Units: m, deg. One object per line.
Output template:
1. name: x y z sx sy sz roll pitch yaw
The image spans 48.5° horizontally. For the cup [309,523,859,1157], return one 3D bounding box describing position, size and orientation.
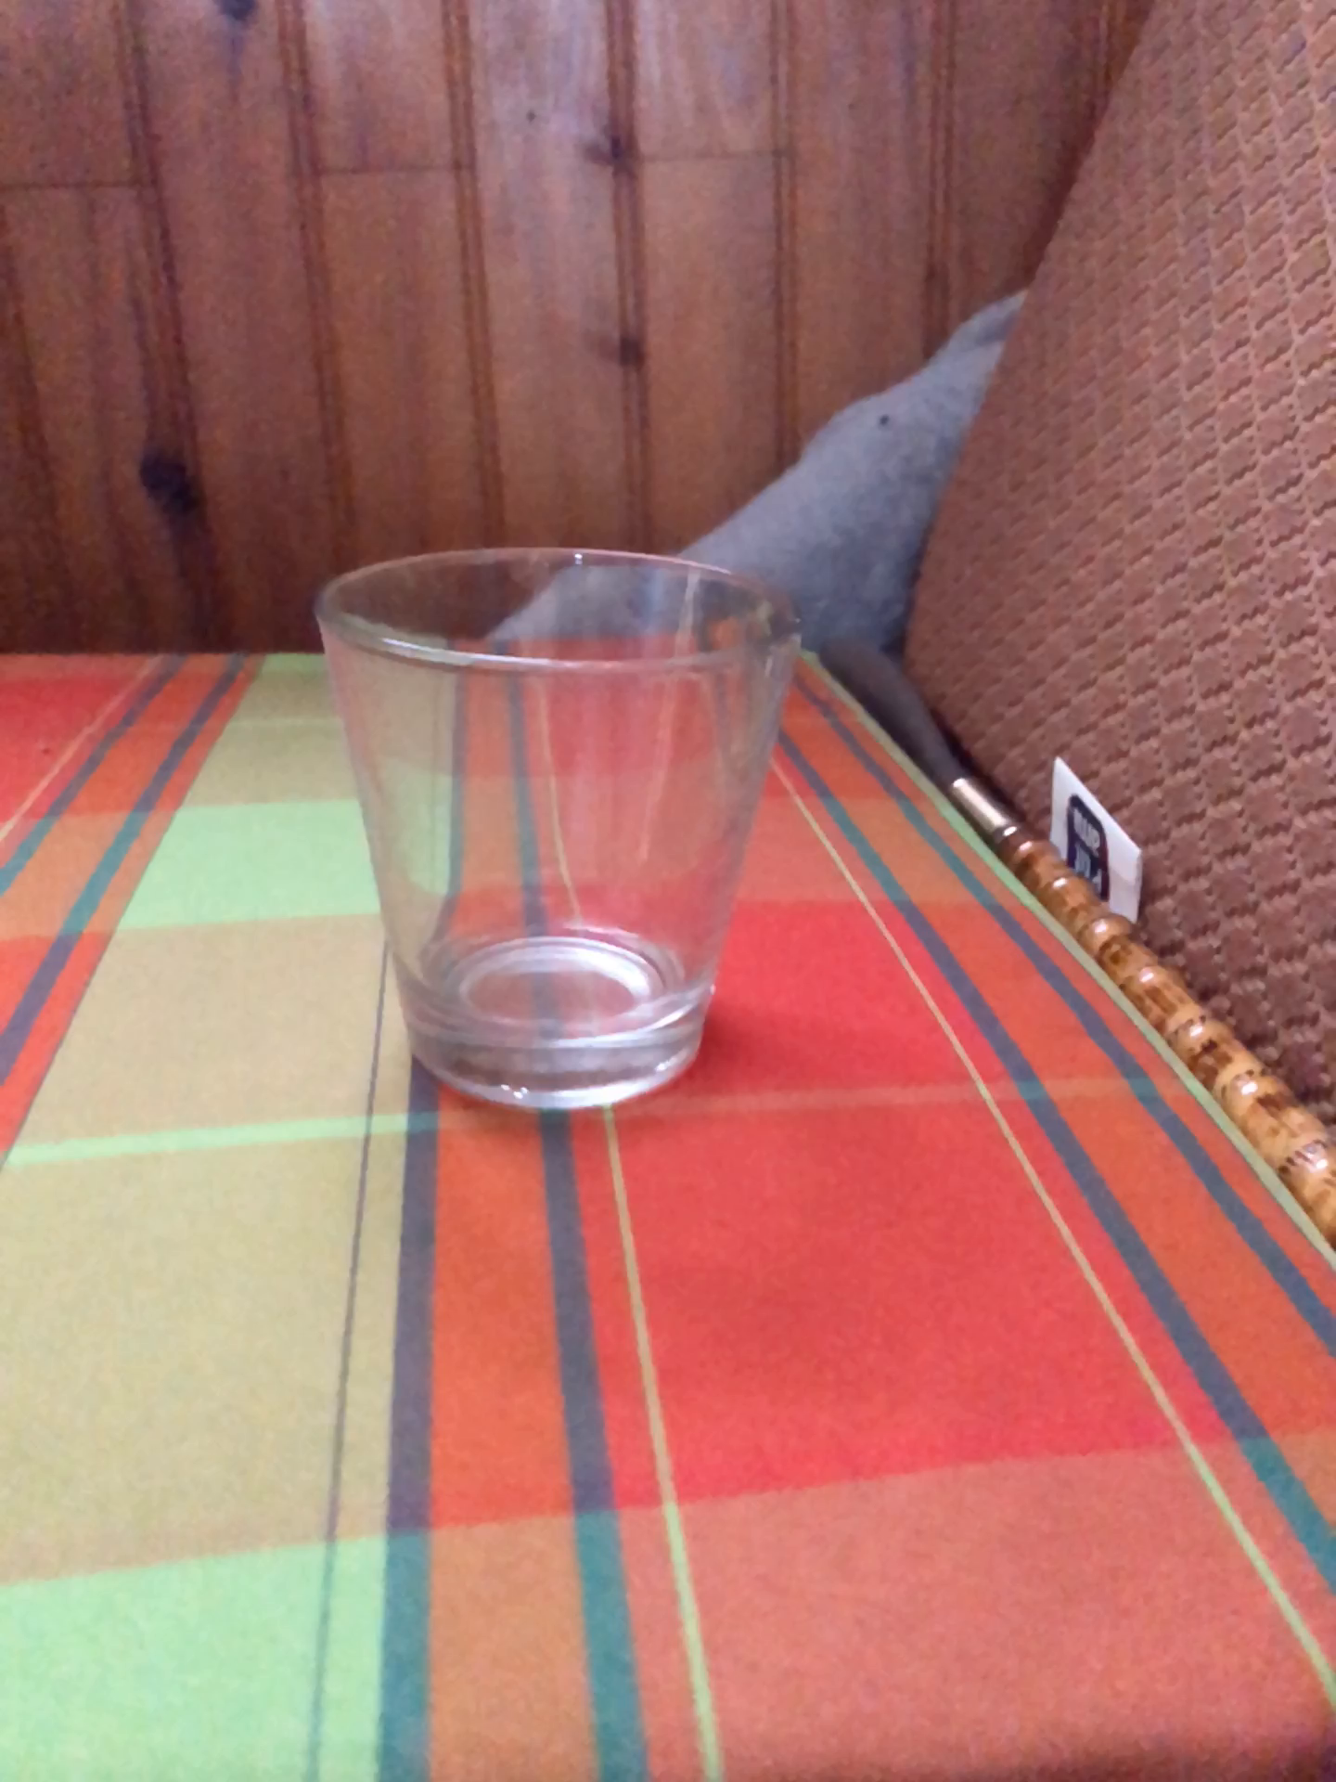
1. cup: -0.017 -0.014 0.270 0.080 0.090 0.080 2 23 -1
